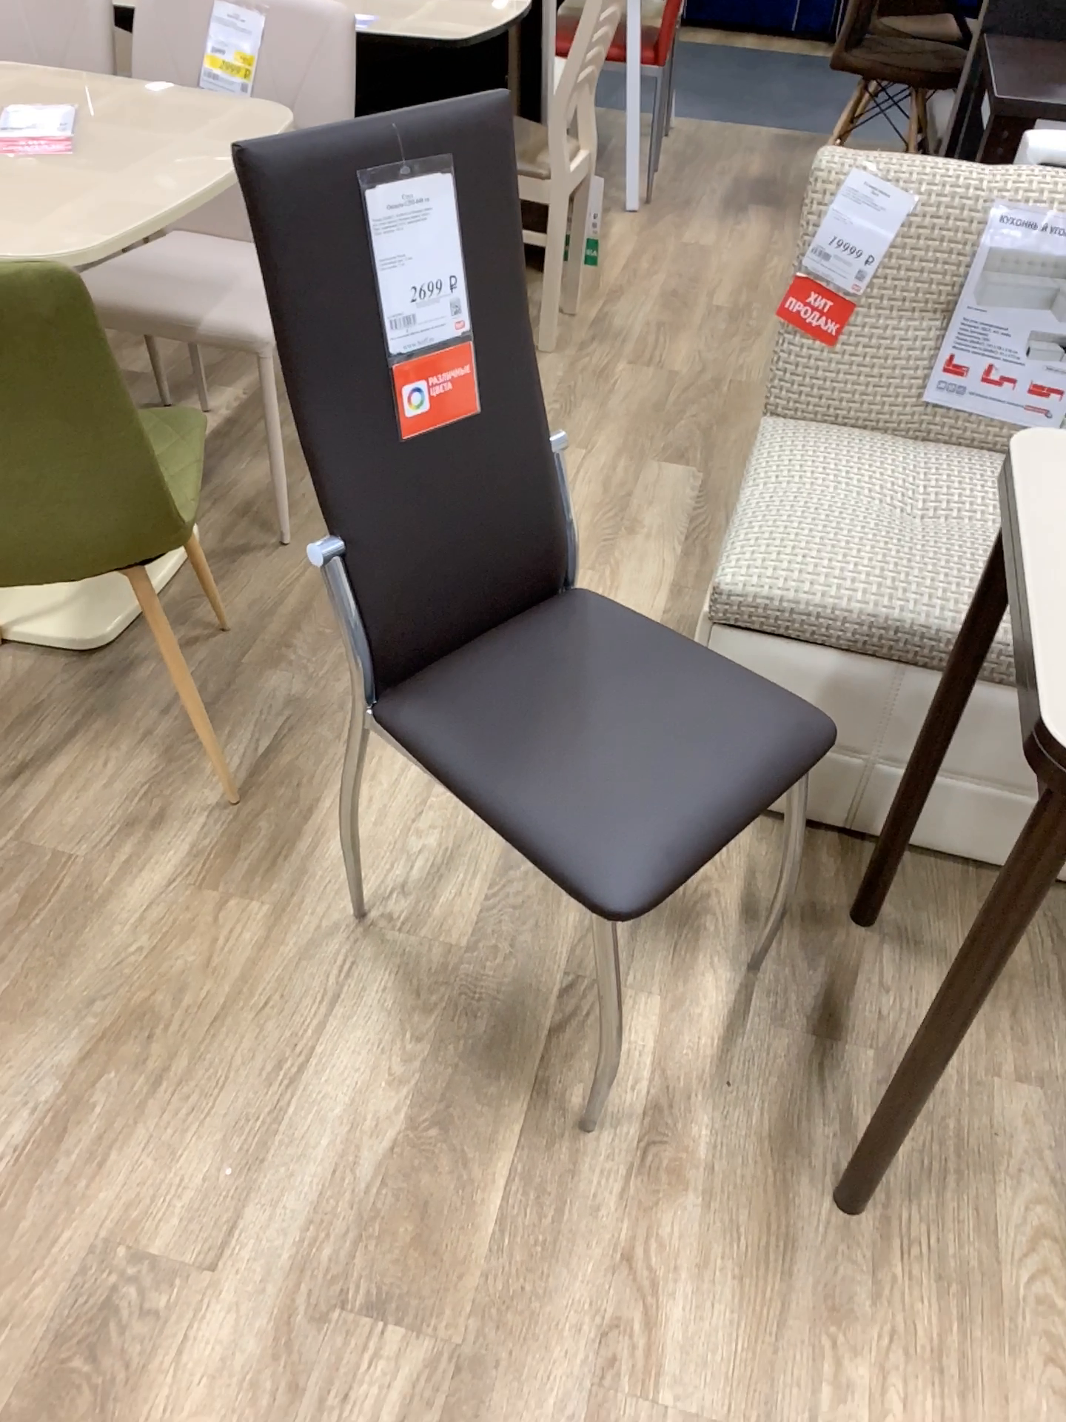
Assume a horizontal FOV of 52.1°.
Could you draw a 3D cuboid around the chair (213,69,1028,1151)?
[{"bbox_3d":[0.043,-0.066,1.204,0.422,0.995,0.501,-32,53,-32],"label":"chair"}]
